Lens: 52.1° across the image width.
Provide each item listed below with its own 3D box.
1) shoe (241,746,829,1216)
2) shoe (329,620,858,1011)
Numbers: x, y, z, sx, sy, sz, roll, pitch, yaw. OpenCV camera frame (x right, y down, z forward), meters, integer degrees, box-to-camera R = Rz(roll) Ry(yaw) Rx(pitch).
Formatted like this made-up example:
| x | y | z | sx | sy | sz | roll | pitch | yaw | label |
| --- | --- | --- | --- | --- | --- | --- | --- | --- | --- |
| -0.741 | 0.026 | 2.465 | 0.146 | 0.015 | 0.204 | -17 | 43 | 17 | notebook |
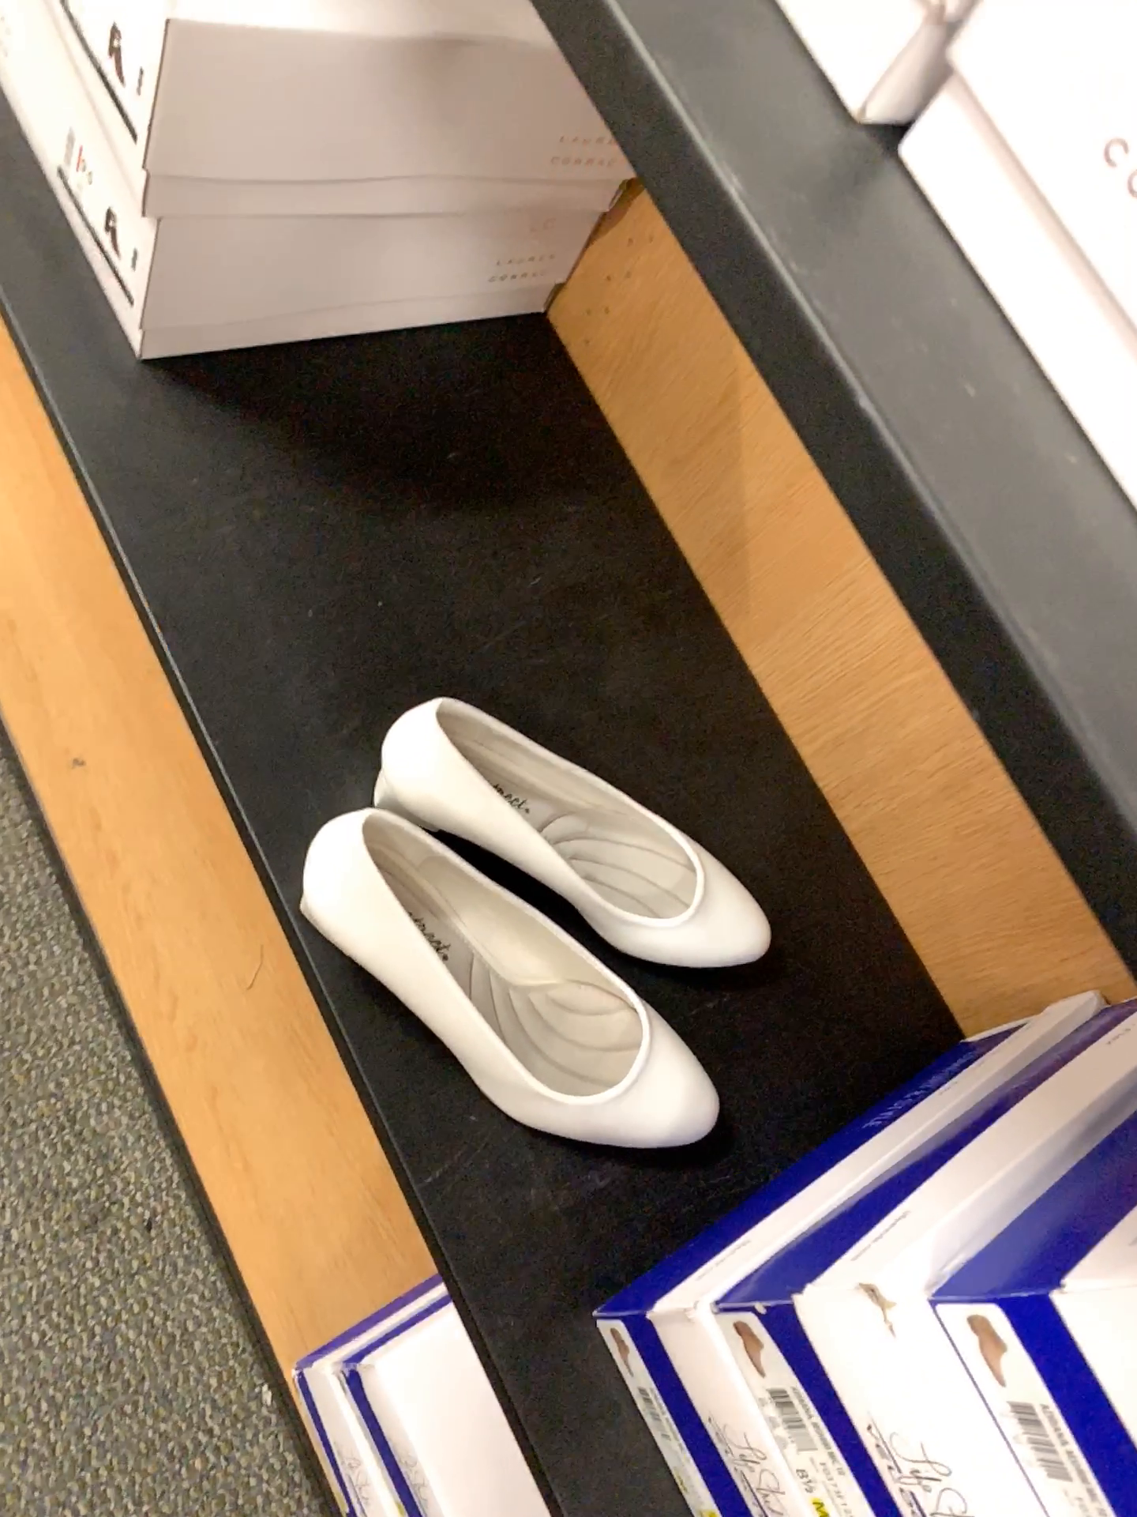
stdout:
| x | y | z | sx | sy | sz | roll | pitch | yaw | label |
| --- | --- | --- | --- | --- | --- | --- | --- | --- | --- |
| -0.017 | 0.116 | 0.566 | 0.250 | 0.110 | 0.090 | 32 | 57 | -8 | shoe |
| 0.014 | 0.038 | 0.616 | 0.250 | 0.100 | 0.080 | 26 | 58 | -12 | shoe |
